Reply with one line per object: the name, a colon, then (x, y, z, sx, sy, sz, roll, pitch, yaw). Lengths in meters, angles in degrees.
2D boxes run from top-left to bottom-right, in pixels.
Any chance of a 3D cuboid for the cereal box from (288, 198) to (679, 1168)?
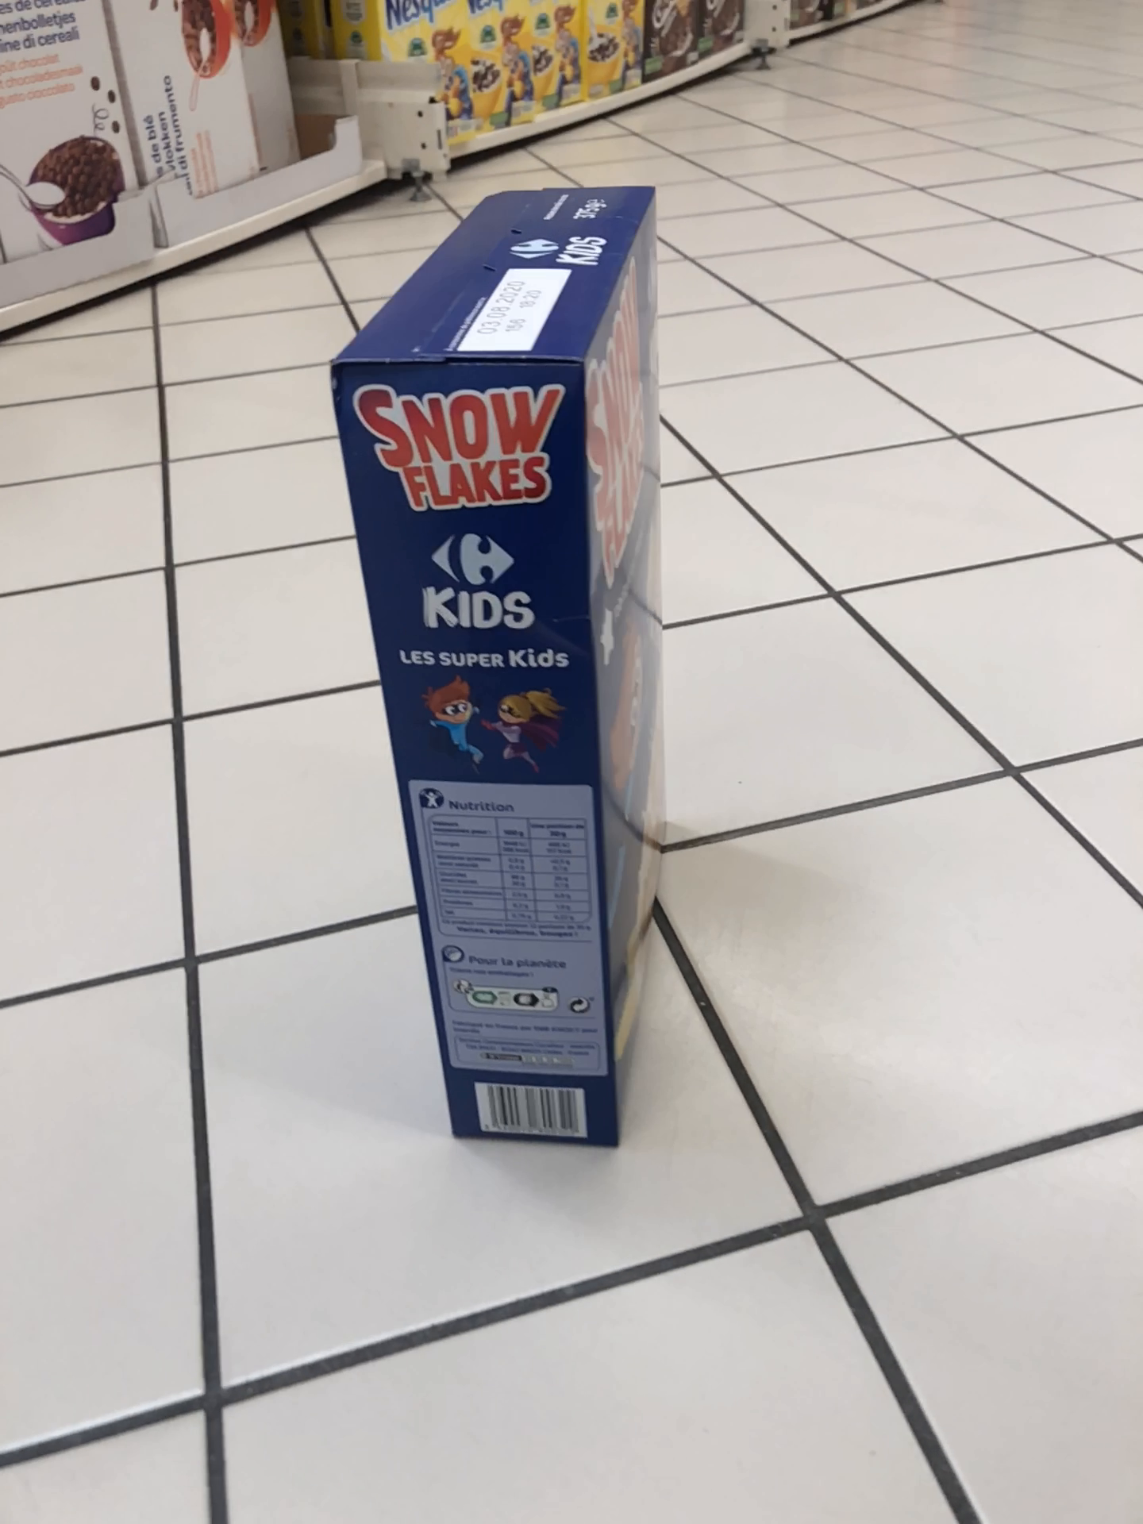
cereal box: (-0.008, -0.030, 0.462, 0.080, 0.288, 0.201, 2, 35, 8)
